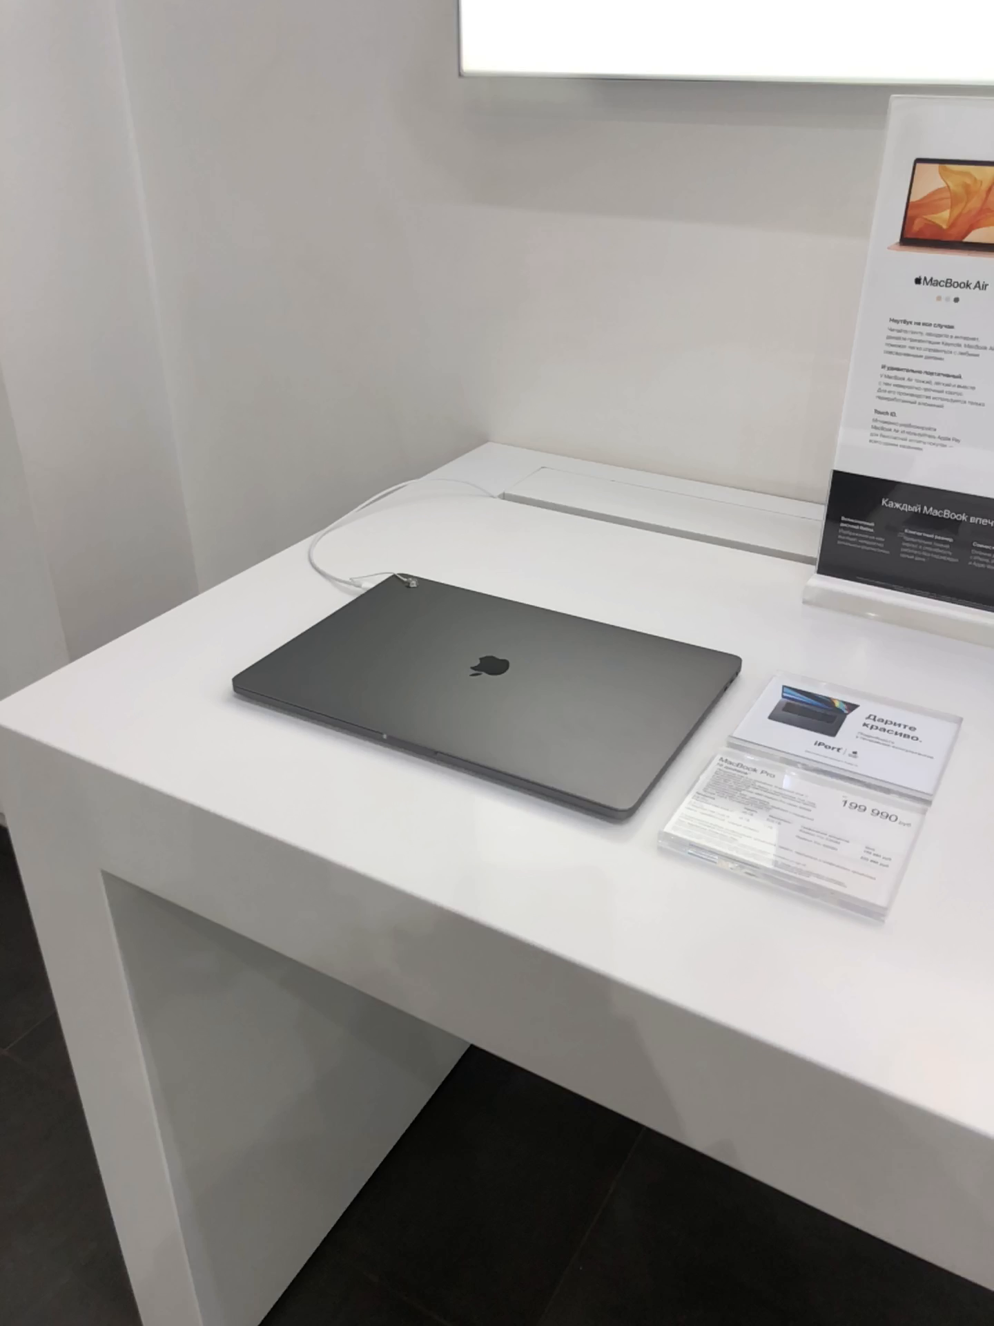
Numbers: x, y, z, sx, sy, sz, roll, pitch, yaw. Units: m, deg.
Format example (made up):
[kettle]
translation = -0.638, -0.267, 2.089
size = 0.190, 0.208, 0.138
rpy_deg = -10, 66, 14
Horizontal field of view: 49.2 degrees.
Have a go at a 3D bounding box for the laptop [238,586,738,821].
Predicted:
[laptop]
translation = -0.005, 0.016, 0.900
size = 0.345, 0.003, 0.232
rpy_deg = 15, 33, 26
